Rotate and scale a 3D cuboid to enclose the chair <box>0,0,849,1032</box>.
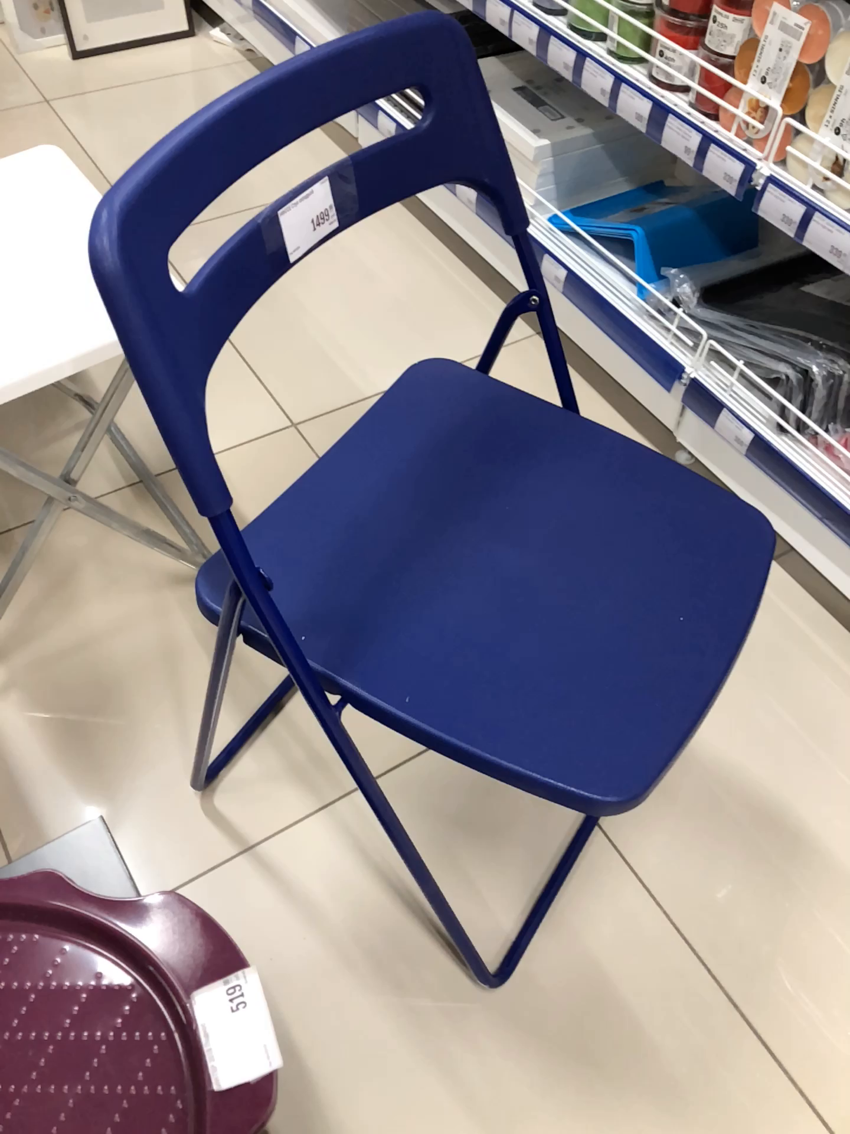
[{"bbox_3d":[0.037,-0.011,0.831,0.465,0.706,0.452,28,55,18],"label":"chair"}]
